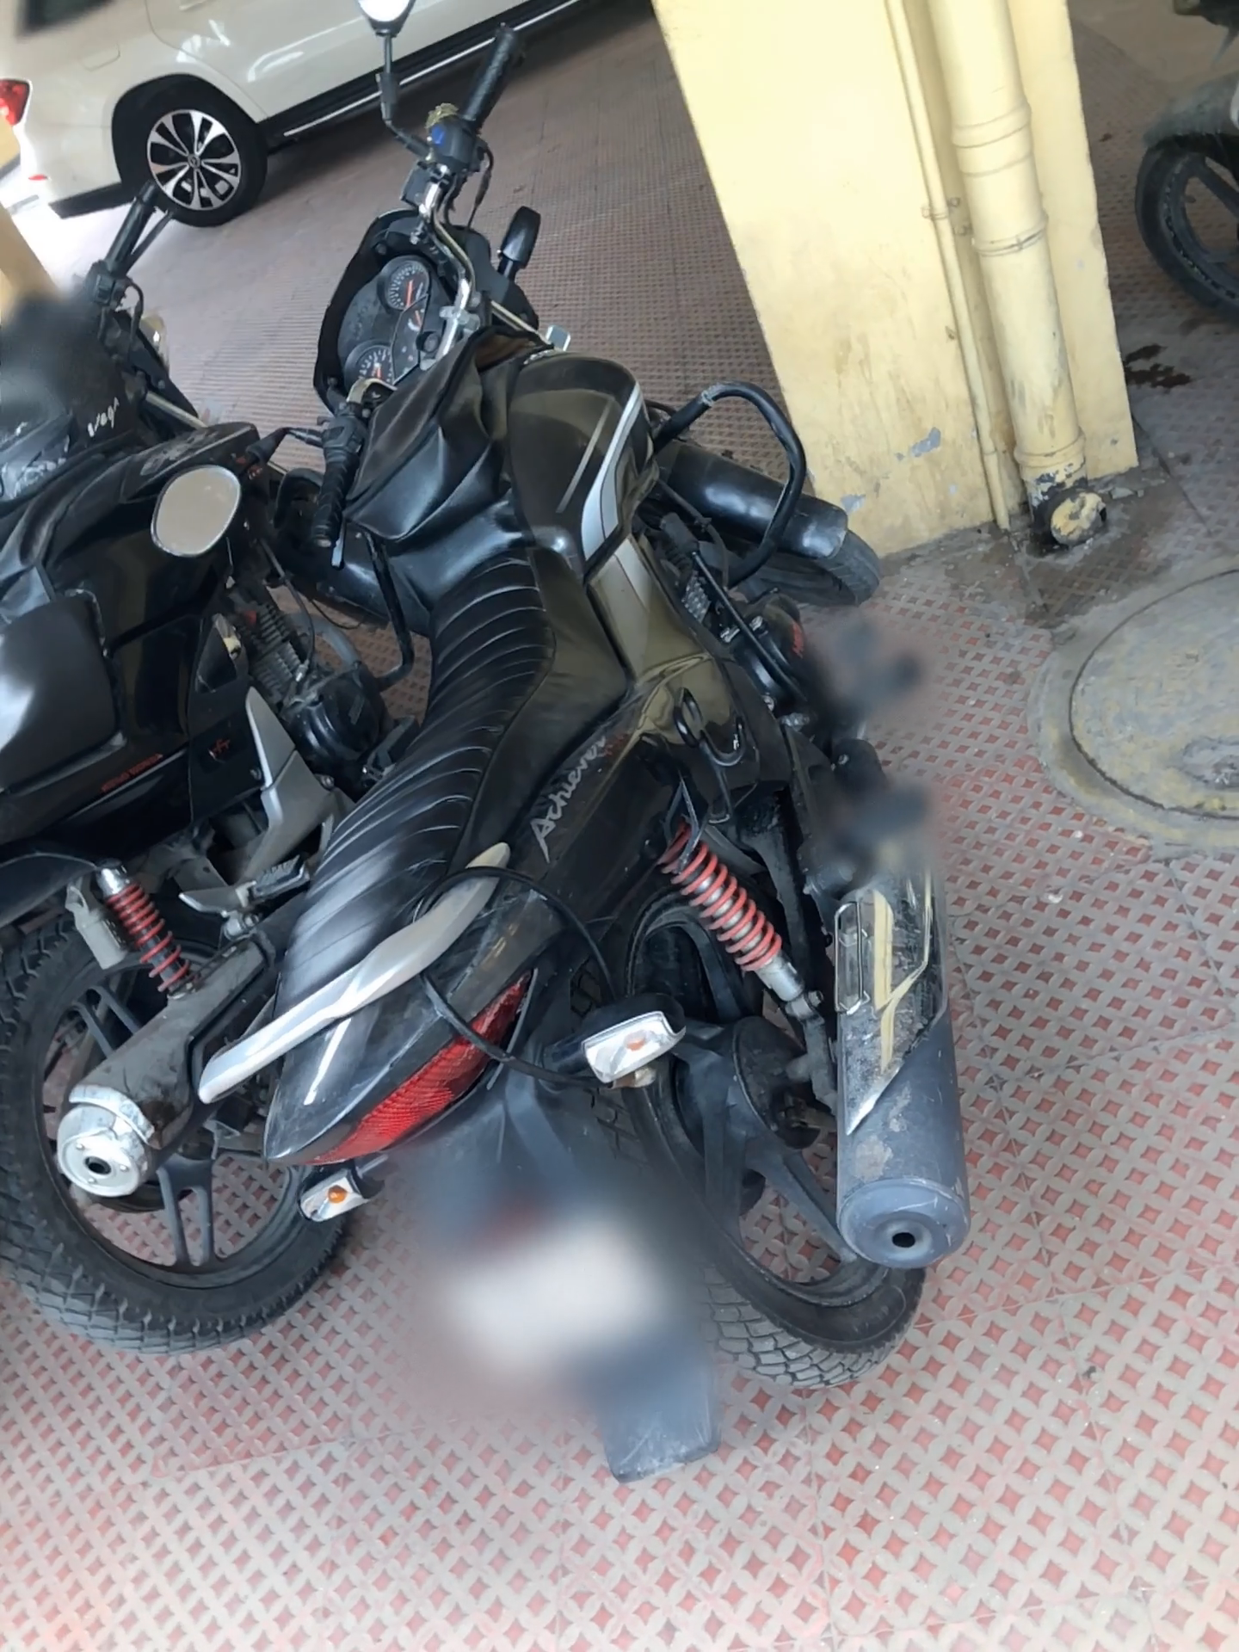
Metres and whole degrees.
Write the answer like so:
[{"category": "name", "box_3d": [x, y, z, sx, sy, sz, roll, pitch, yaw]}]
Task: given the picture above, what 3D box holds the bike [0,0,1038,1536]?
[{"category": "bike", "box_3d": [-0.199, -0.242, 1.805, 0.731, 1.125, 1.768, -20, 38, 11]}]
